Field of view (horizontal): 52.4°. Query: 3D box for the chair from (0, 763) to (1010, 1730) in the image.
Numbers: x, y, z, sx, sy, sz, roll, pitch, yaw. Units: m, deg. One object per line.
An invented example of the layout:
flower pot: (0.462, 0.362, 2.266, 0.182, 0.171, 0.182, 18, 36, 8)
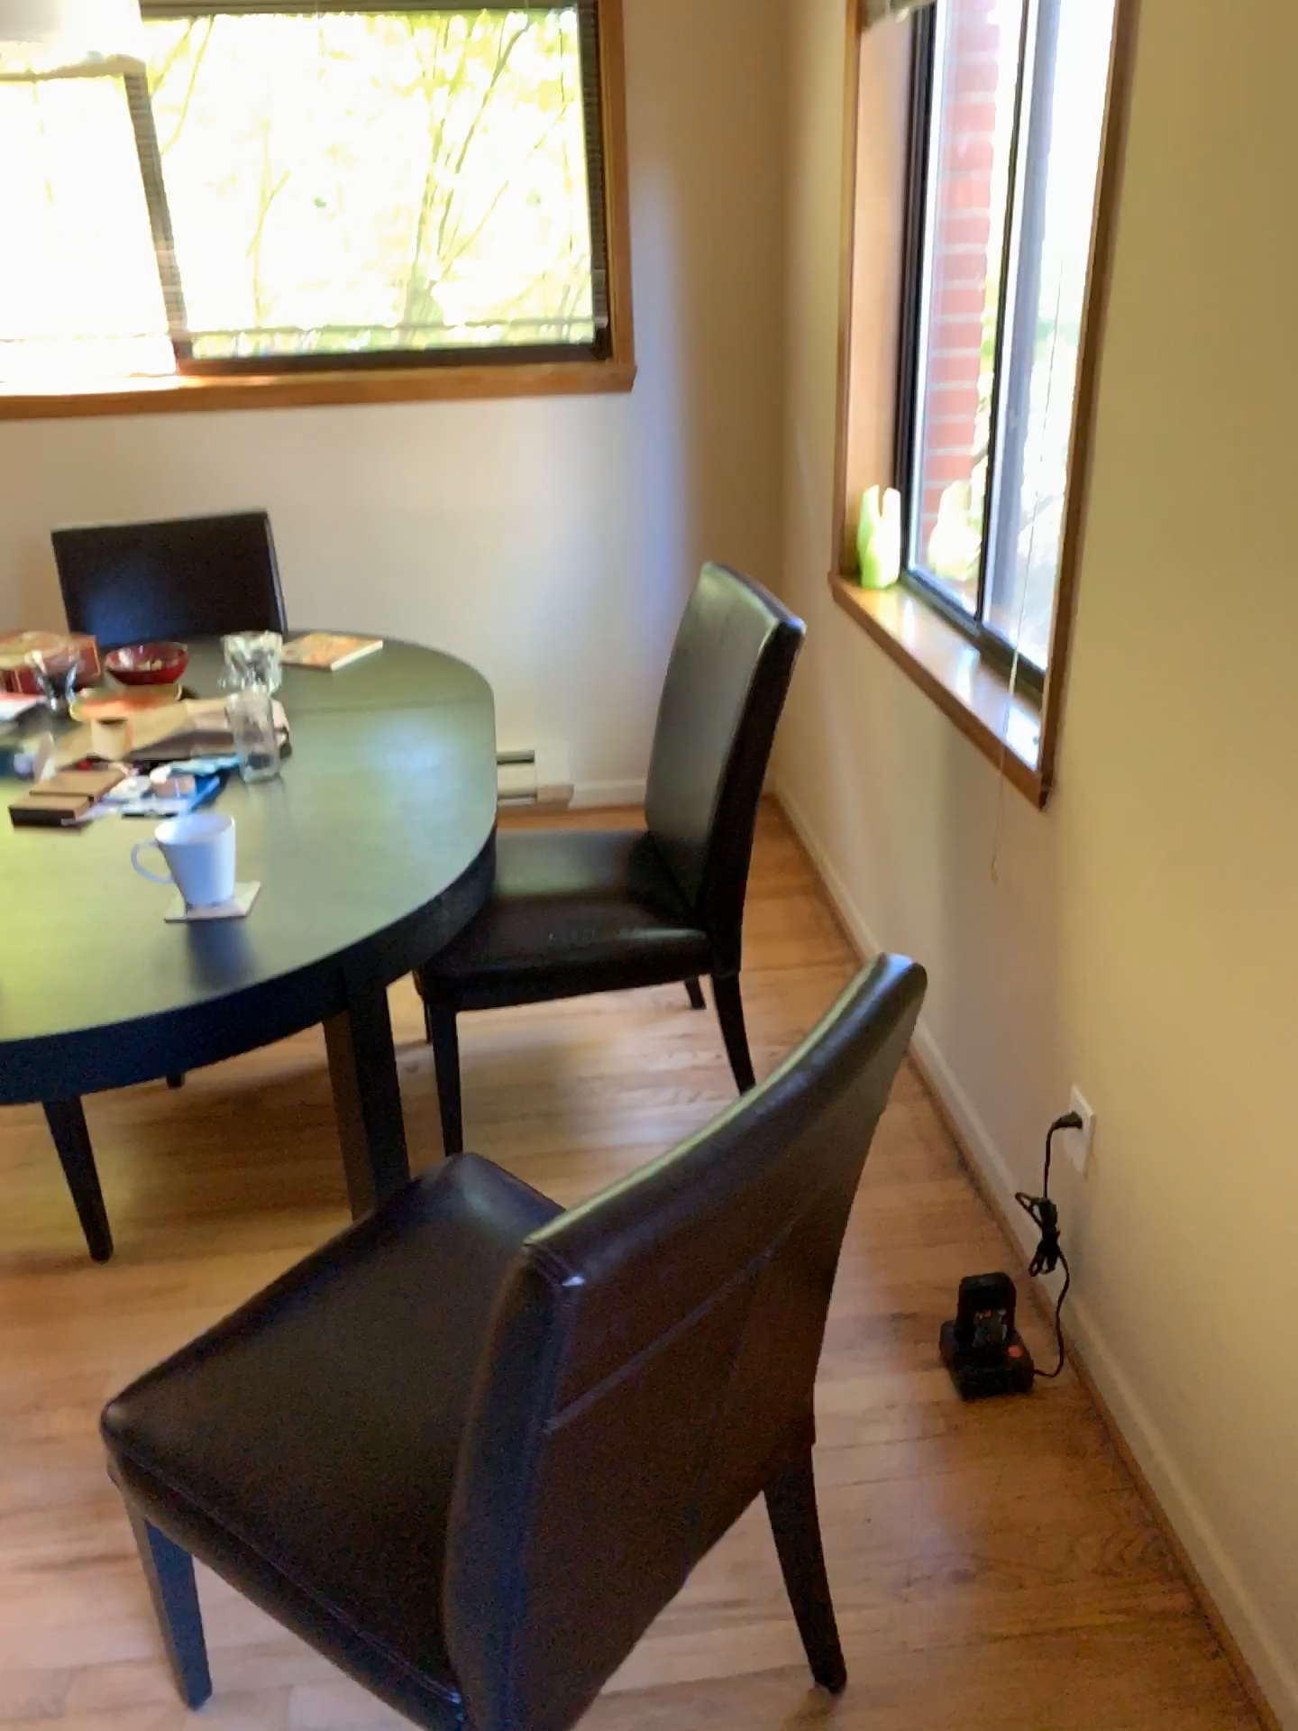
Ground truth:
chair: (-0.121, 0.567, 1.306, 0.652, 1.084, 0.622, 16, 31, 34)
